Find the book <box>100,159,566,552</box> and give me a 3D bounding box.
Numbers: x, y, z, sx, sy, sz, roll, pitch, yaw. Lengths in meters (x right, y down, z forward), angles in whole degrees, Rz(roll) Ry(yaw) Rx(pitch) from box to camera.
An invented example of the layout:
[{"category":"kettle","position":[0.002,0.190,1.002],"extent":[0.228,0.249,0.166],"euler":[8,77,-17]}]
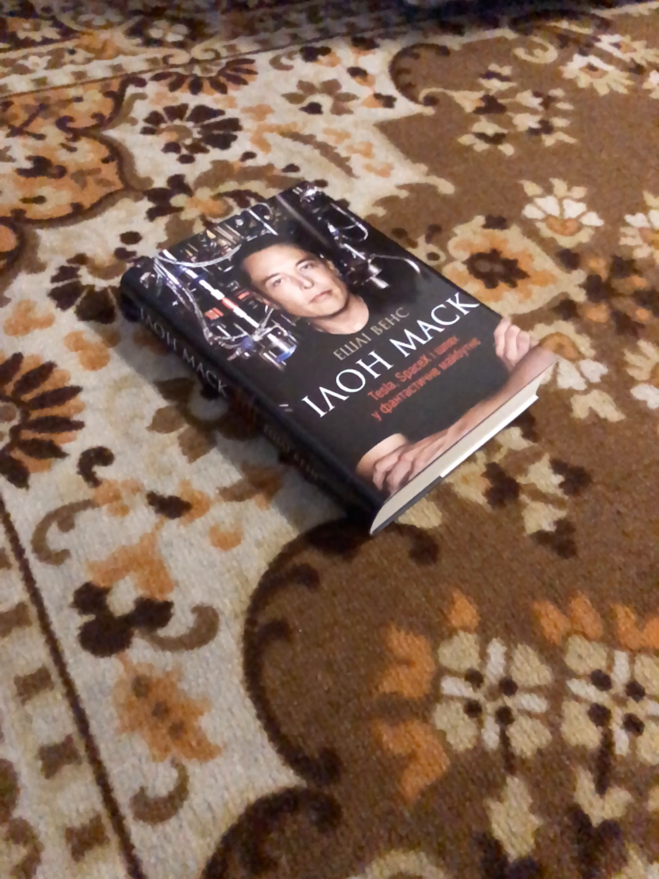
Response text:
[{"category":"book","position":[-0.001,-0.076,0.493],"extent":[0.185,0.050,0.251],"euler":[-35,66,-27]}]
